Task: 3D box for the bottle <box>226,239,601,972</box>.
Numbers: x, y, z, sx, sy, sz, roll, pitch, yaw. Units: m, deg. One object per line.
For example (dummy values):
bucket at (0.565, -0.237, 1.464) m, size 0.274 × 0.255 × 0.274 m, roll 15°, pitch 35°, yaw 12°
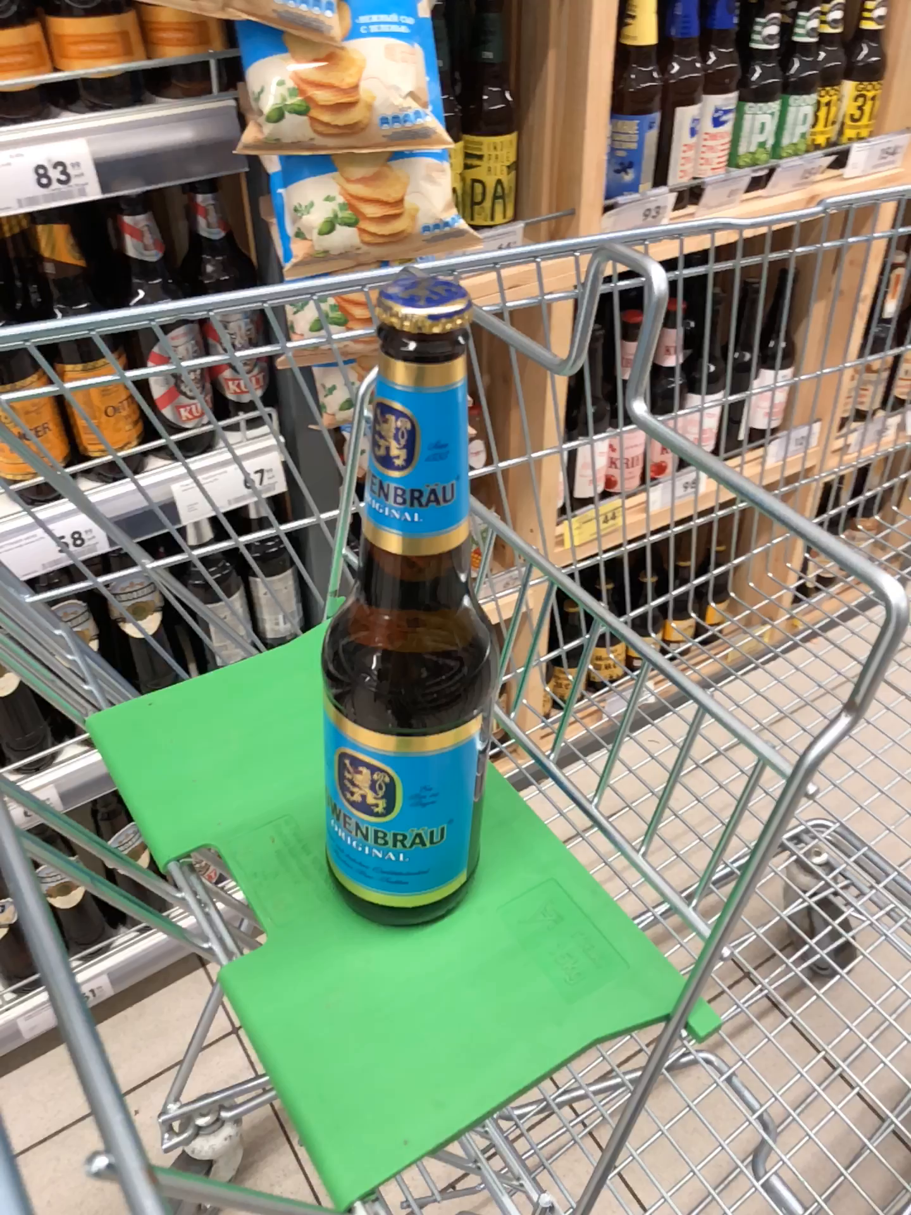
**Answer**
bottle at (-0.015, 0.011, 0.358) m, size 0.080 × 0.249 × 0.070 m, roll 24°, pitch 42°, yaw 26°
